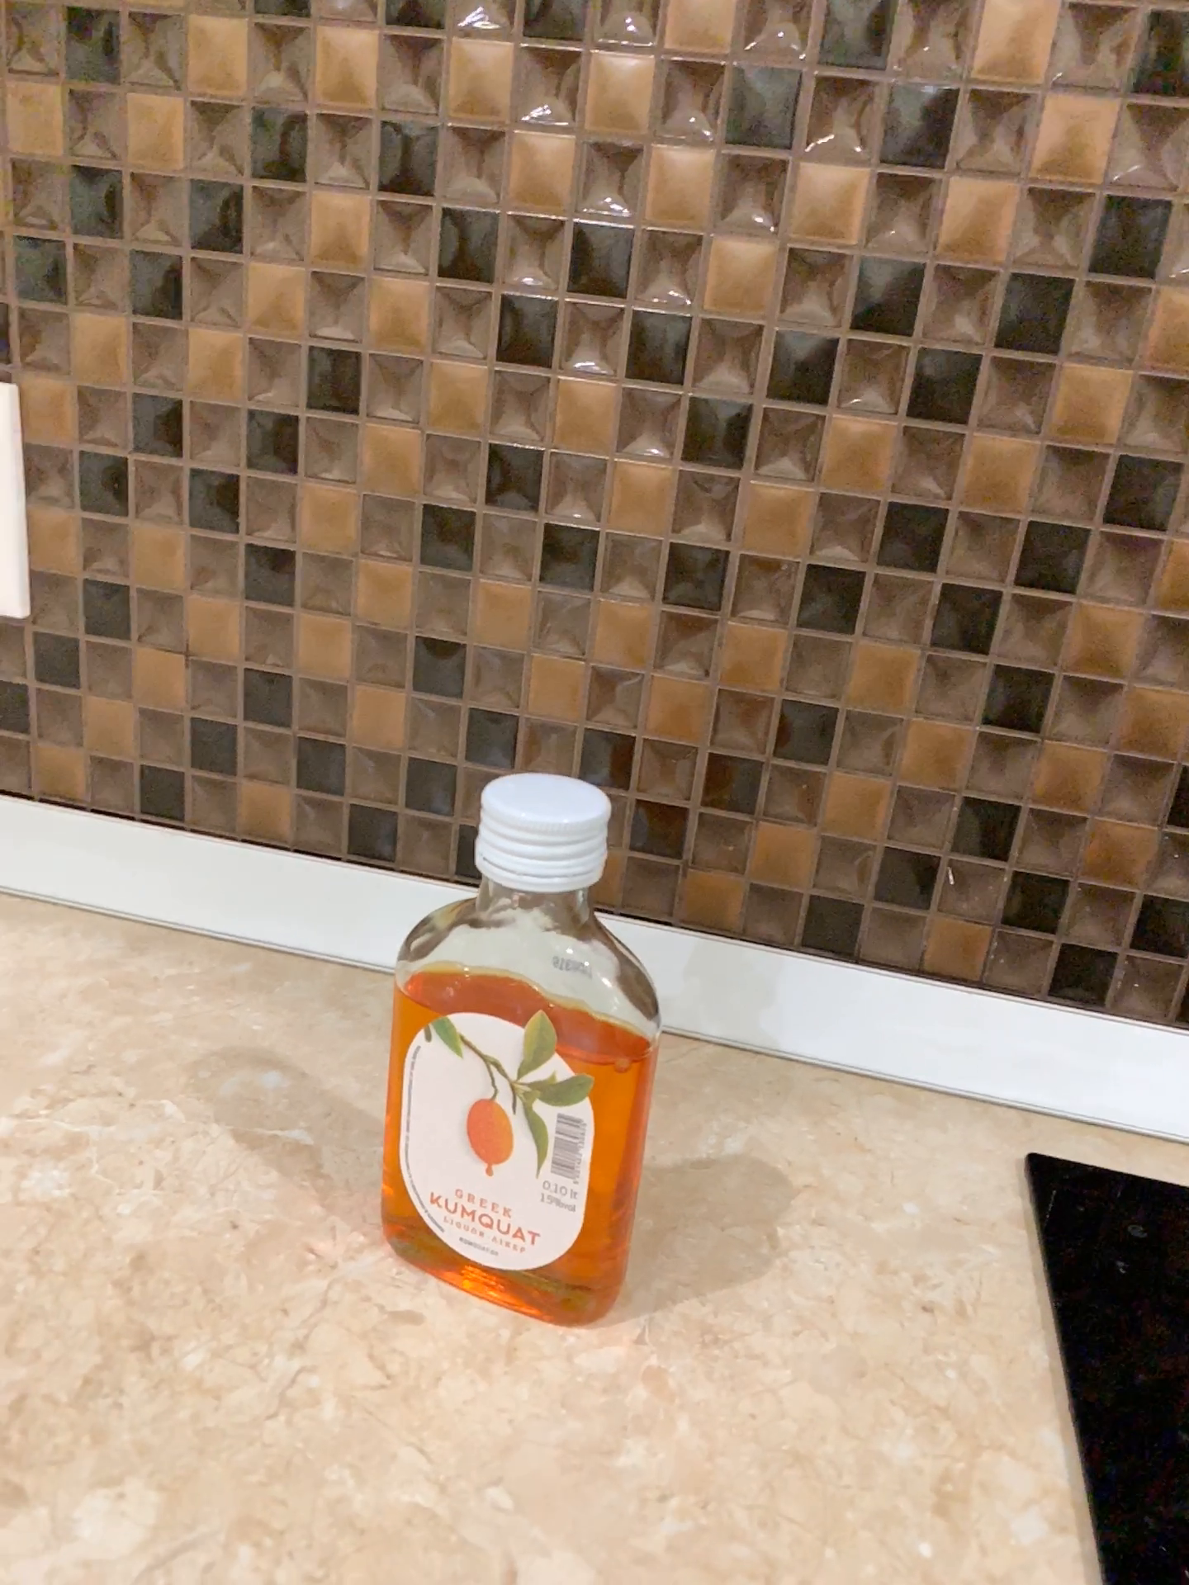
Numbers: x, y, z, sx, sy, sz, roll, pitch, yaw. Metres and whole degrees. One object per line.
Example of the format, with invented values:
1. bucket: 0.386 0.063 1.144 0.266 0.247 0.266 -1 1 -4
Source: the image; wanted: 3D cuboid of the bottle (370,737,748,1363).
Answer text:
1. bottle: -0.012 0.062 0.304 0.070 0.133 0.040 15 22 21
